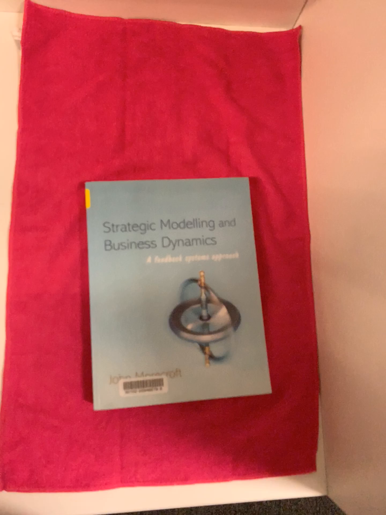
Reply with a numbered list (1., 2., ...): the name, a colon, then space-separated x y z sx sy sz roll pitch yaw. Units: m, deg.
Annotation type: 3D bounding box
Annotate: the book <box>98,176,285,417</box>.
1. book: -0.005 0.035 0.435 0.193 0.033 0.250 -1 81 -7
